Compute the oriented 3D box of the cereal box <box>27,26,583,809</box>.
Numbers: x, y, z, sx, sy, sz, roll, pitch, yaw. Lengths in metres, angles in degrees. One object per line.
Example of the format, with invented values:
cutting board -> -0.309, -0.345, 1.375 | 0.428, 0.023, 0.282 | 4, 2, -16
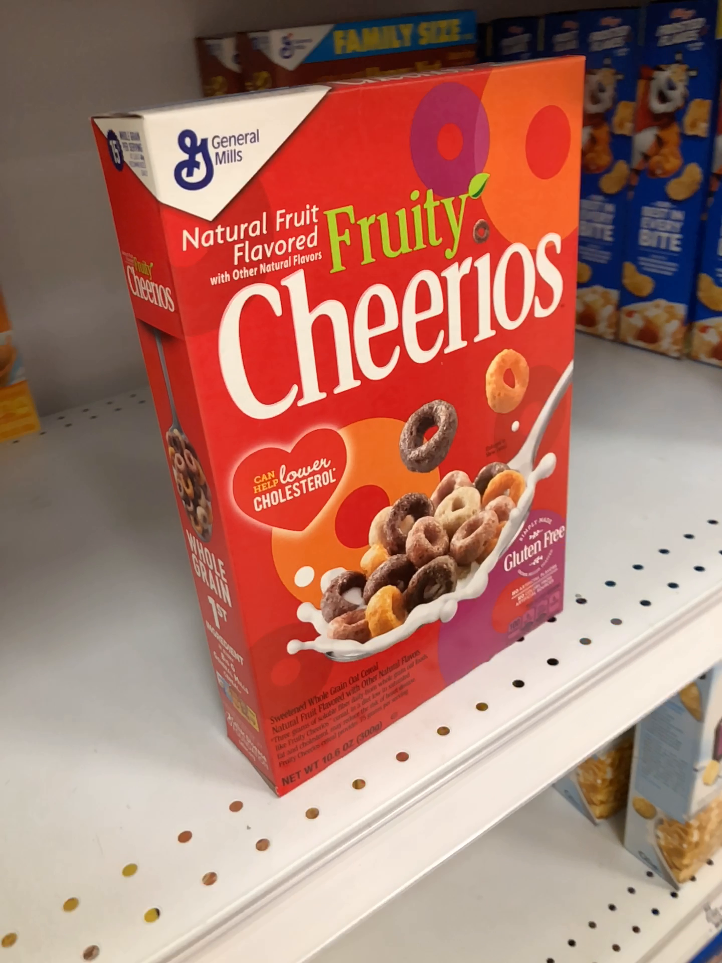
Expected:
cereal box -> 0.003, -0.027, 0.357 | 0.200, 0.289, 0.060 | -25, 34, -30
